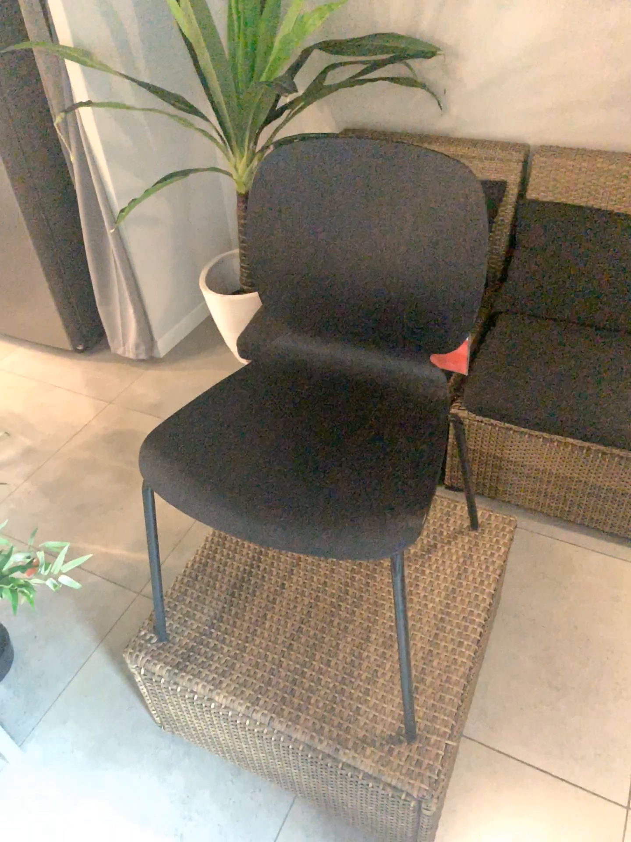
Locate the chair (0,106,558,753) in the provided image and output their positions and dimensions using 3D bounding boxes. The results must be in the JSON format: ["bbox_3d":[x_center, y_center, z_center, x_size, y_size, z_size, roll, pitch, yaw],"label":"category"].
[{"bbox_3d":[0.002,-0.001,1.040,0.531,0.767,0.562,14,44,20],"label":"chair"}]
